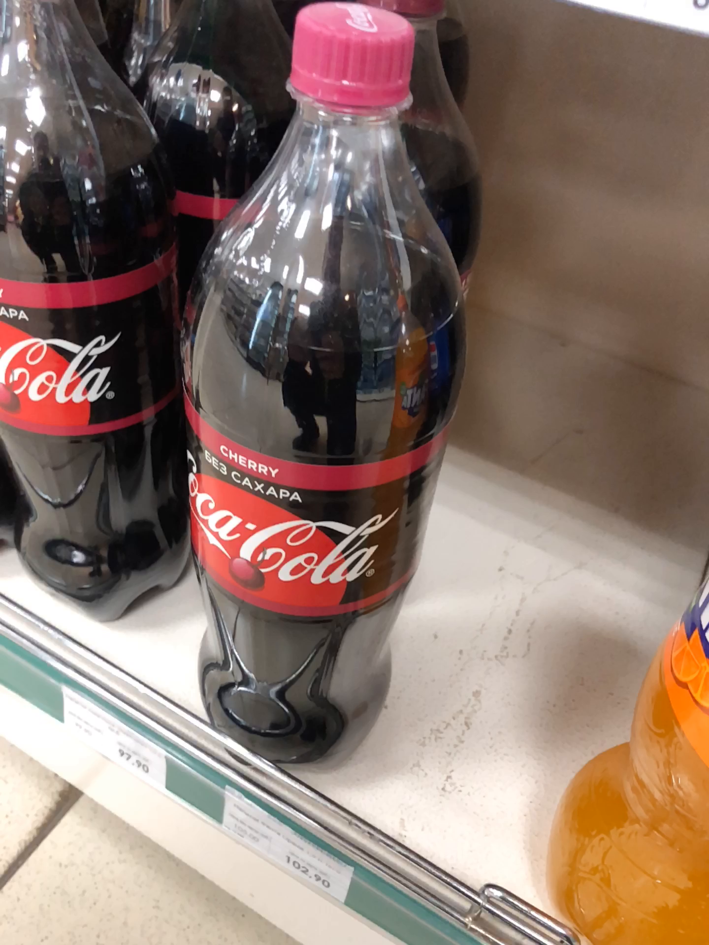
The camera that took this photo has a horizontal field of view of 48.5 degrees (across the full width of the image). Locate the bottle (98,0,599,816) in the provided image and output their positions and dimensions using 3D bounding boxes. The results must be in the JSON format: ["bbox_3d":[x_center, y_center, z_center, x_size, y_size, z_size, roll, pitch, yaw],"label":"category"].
[{"bbox_3d":[-0.013,0.001,0.290,0.092,0.295,0.088,5,43,-4],"label":"bottle"}]
